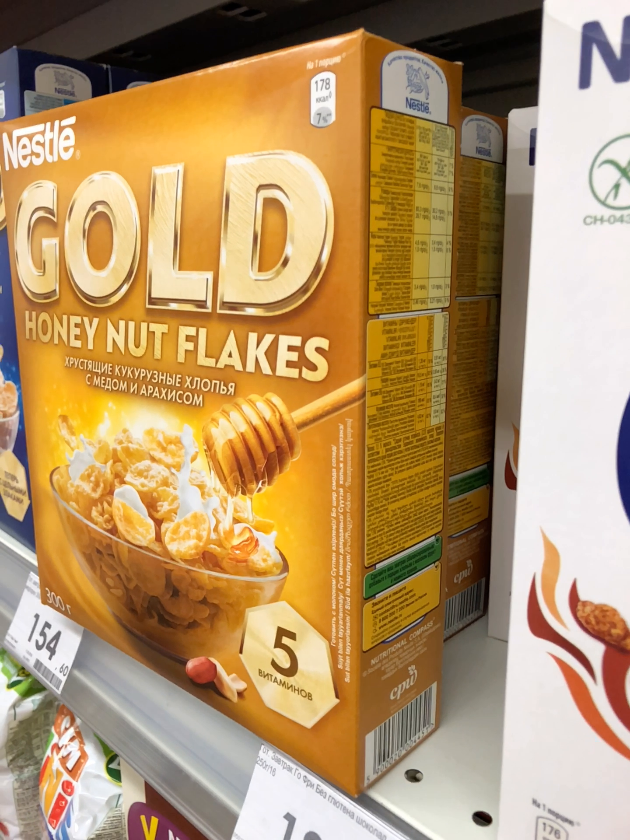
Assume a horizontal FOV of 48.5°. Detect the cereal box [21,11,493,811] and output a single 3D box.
[{"bbox_3d":[-0.036,-0.008,0.269,0.190,0.219,0.050,11,15,41],"label":"cereal box"}]
